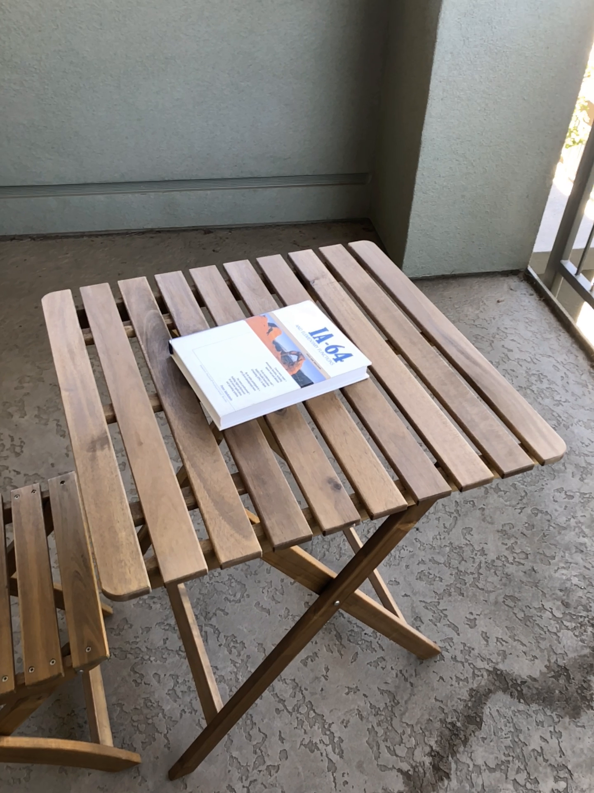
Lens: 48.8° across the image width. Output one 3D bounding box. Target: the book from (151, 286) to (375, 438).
[{"bbox_3d":[-0.052,-0.061,0.928,0.250,0.040,0.201,-19,46,-21],"label":"book"}]
